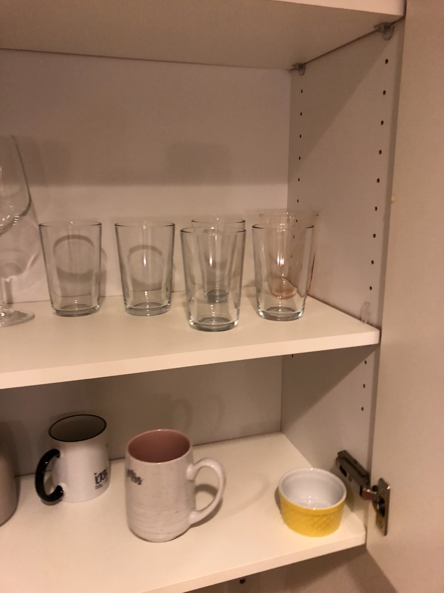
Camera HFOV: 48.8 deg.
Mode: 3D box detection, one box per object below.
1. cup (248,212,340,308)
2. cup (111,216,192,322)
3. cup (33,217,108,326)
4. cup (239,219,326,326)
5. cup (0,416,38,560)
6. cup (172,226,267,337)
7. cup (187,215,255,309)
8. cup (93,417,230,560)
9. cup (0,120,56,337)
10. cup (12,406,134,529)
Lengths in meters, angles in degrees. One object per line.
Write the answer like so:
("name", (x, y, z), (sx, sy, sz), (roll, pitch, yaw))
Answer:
("cup", (0.101, -0.058, 0.708), (0.090, 0.120, 0.100), (-5, 14, -21))
("cup", (-0.094, -0.041, 0.643), (0.080, 0.120, 0.090), (-6, 14, -23))
("cup", (-0.208, -0.039, 0.671), (0.080, 0.130, 0.090), (-6, 14, -23))
("cup", (0.075, -0.035, 0.628), (0.080, 0.120, 0.080), (0, 13, 0))
("cup", (-0.328, 0.240, 0.642), (0.110, 0.090, 0.140), (-12, 17, -41))
("cup", (-0.005, -0.022, 0.575), (0.080, 0.110, 0.090), (-6, 14, -23))
("cup", (-0.003, -0.053, 0.703), (0.070, 0.120, 0.080), (-6, 14, -23))
("cup", (-0.070, 0.229, 0.602), (0.140, 0.110, 0.090), (4, 13, 17))
("cup", (-0.292, -0.090, 0.650), (0.110, 0.259, 0.090), (-6, 14, -23))
("cup", (-0.204, 0.233, 0.692), (0.090, 0.090, 0.141), (5, 14, 22))
